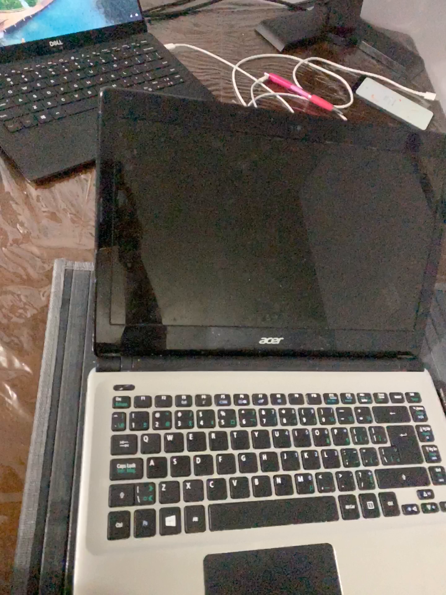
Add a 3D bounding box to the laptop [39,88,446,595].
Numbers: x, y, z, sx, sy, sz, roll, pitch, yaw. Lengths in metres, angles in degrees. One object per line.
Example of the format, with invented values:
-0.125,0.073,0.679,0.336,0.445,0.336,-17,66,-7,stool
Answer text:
0.065,0.053,0.341,0.330,0.147,0.386,2,58,-15,laptop
